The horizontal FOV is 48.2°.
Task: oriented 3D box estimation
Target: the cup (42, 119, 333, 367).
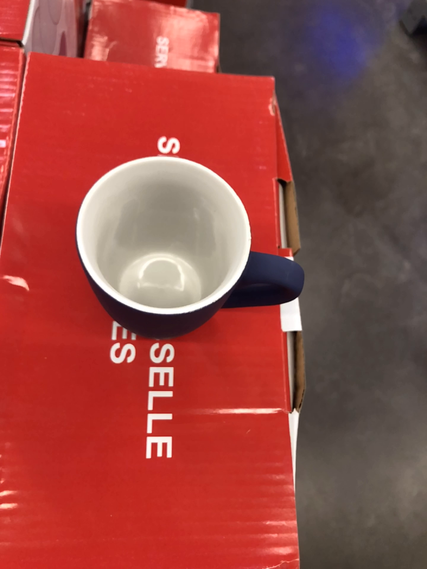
[{"bbox_3d":[-0.012,-0.014,0.259,0.121,0.088,0.091,9,73,-5],"label":"cup"}]
